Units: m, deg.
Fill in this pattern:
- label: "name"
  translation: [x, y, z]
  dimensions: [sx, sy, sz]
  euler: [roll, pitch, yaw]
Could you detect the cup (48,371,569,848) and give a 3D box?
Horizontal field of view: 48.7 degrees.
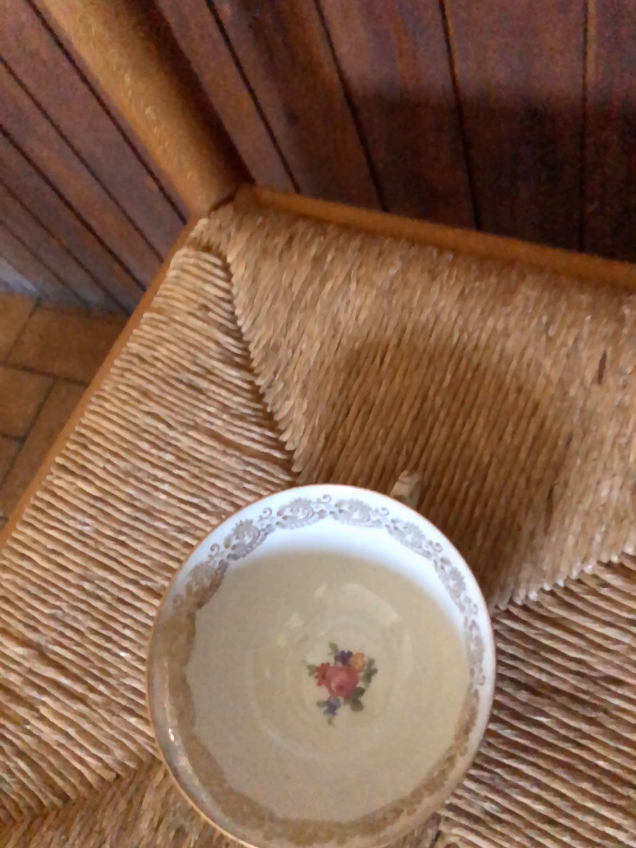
- label: "cup"
  translation: [0.000, 0.066, 0.254]
  dimensions: [0.130, 0.040, 0.140]
  euler: [-8, 59, 13]
